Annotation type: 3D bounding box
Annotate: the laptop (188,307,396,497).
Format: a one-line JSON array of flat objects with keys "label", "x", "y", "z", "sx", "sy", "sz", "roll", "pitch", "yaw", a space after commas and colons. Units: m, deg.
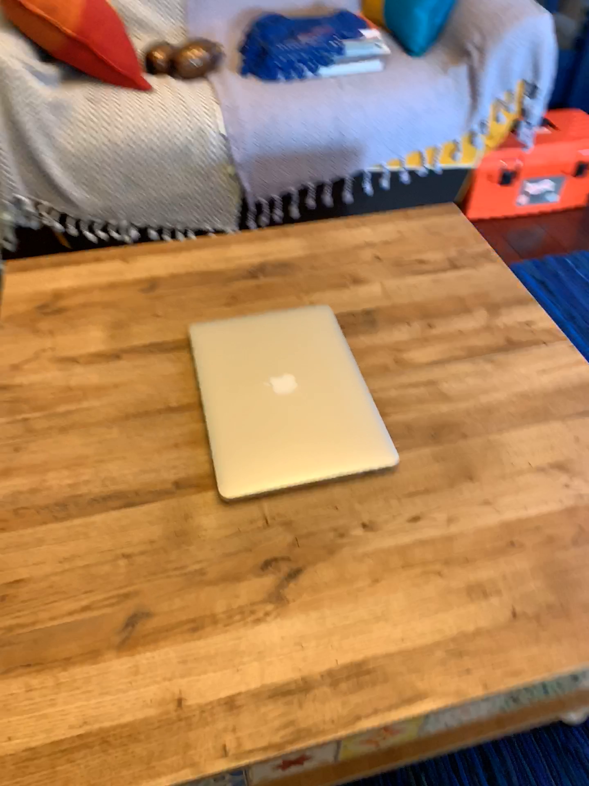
[{"label": "laptop", "x": -0.018, "y": -0.006, "z": 0.793, "sx": 0.208, "sy": 0.002, "sz": 0.299, "roll": -11, "pitch": 47, "yaw": -9}]
